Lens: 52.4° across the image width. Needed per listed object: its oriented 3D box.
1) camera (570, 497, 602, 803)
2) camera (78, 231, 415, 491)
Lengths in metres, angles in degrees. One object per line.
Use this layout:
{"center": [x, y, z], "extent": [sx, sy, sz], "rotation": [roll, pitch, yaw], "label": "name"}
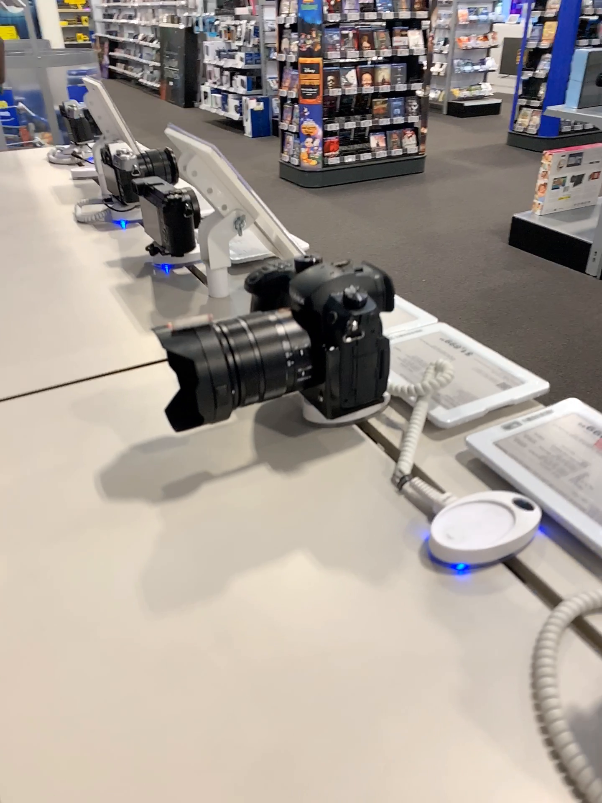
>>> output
{"center": [0.188, 0.116, 0.230], "extent": [0.070, 0.079, 0.131], "rotation": [-18, 37, -24], "label": "camera"}
{"center": [-0.041, -0.045, 0.467], "extent": [0.200, 0.099, 0.141], "rotation": [-18, 37, -24], "label": "camera"}
